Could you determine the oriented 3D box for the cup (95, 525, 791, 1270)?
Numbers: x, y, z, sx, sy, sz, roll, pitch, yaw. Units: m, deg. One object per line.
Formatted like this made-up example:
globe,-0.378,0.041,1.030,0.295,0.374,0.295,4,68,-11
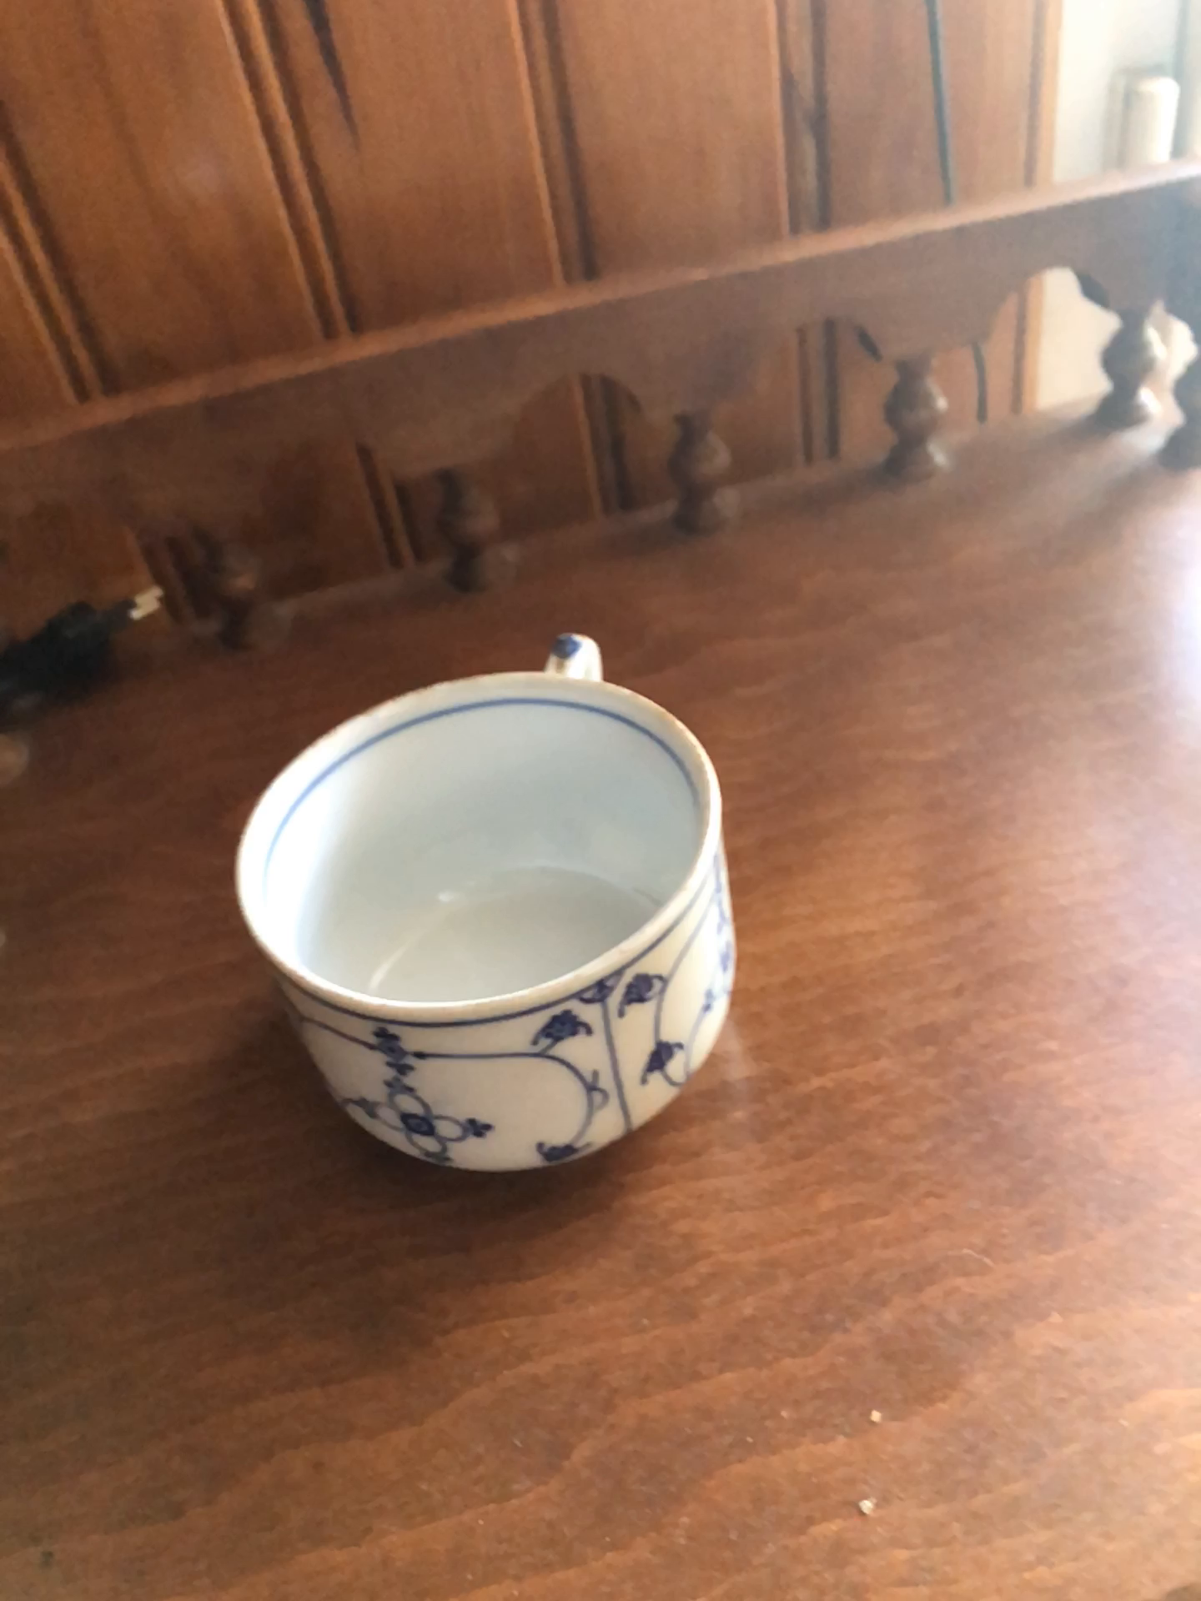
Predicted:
cup,-0.015,0.008,0.242,0.080,0.060,0.121,3,42,15
